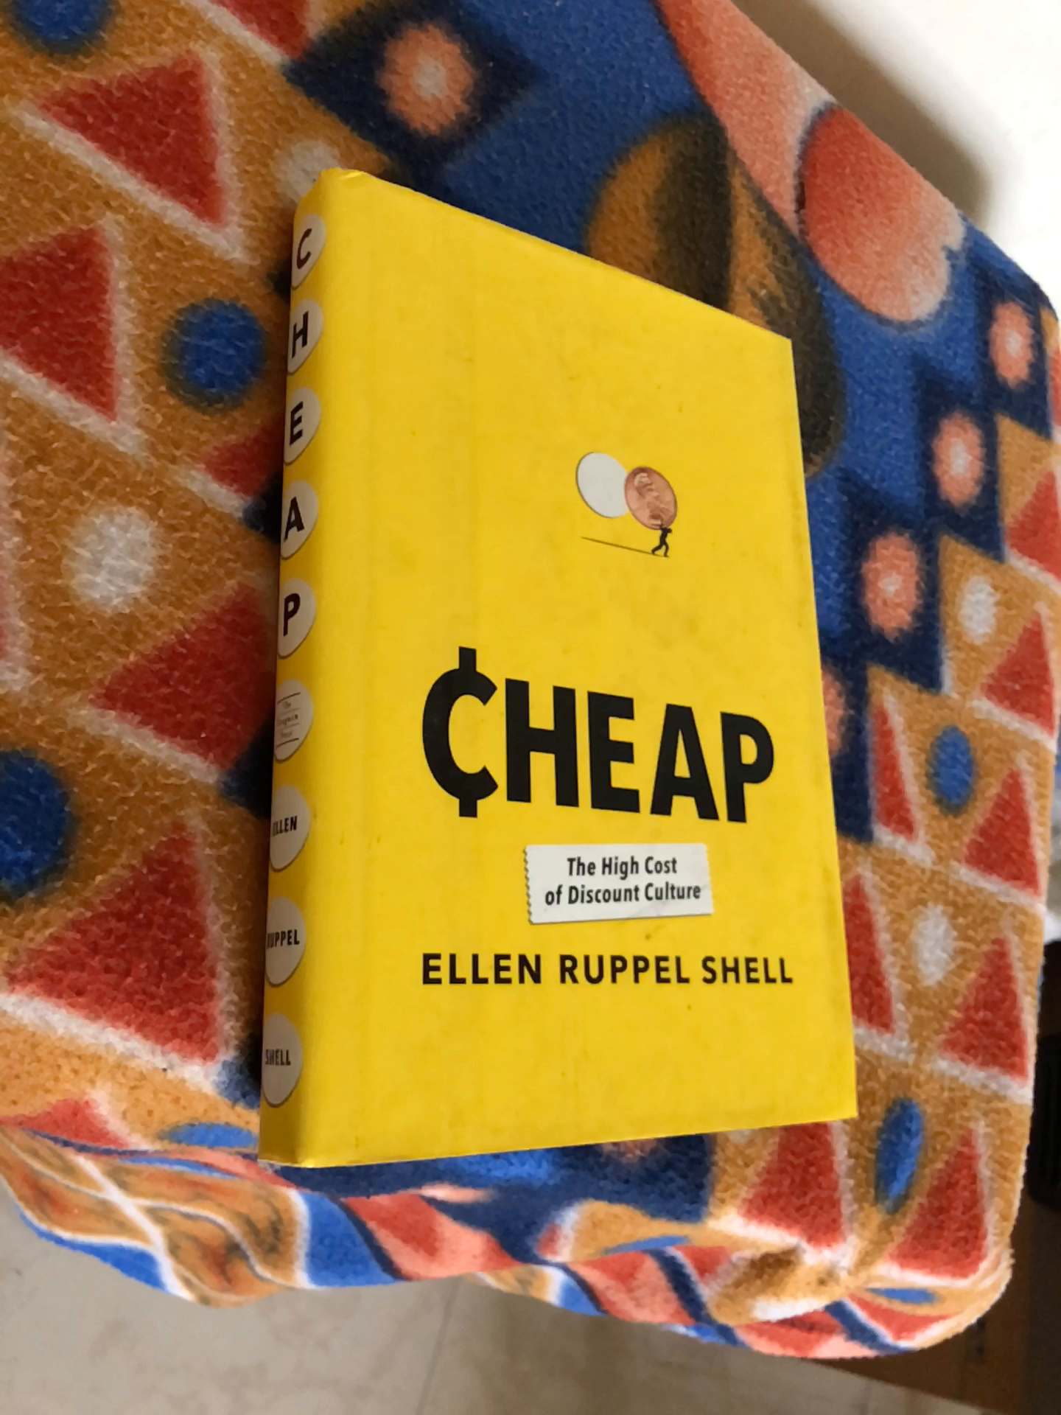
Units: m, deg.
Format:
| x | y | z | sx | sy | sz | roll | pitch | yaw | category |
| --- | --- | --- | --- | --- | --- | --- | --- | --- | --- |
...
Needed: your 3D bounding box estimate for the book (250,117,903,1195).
| x | y | z | sx | sy | sz | roll | pitch | yaw | category |
| --- | --- | --- | --- | --- | --- | --- | --- | --- | --- |
| 0.017 | -0.011 | 0.311 | 0.171 | 0.030 | 0.240 | 8 | 72 | -34 | book |
